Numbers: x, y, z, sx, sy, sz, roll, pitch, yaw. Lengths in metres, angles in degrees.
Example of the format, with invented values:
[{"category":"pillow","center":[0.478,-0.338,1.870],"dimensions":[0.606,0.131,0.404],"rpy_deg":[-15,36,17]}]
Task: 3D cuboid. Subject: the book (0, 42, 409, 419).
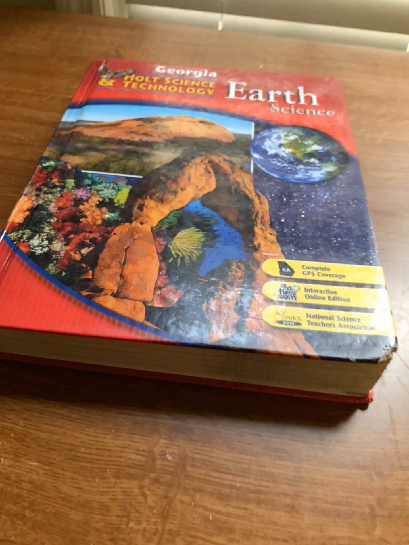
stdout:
[{"category":"book","center":[0.015,-0.056,0.295],"dimensions":[0.214,0.050,0.267],"rpy_deg":[6,49,1]}]
